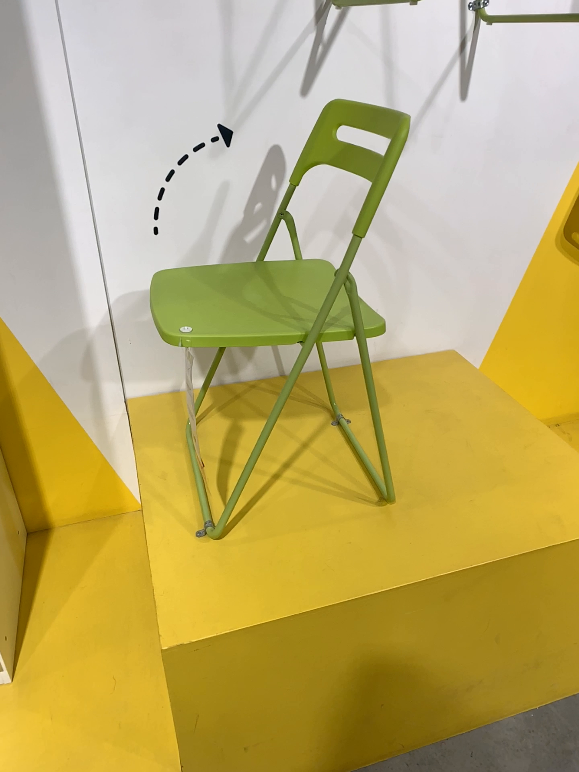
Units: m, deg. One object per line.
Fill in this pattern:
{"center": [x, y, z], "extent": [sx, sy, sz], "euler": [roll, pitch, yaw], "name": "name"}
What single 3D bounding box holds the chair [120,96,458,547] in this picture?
{"center": [-0.037, -0.151, 1.165], "extent": [0.460, 0.717, 0.452], "euler": [-8, 31, -13], "name": "chair"}
